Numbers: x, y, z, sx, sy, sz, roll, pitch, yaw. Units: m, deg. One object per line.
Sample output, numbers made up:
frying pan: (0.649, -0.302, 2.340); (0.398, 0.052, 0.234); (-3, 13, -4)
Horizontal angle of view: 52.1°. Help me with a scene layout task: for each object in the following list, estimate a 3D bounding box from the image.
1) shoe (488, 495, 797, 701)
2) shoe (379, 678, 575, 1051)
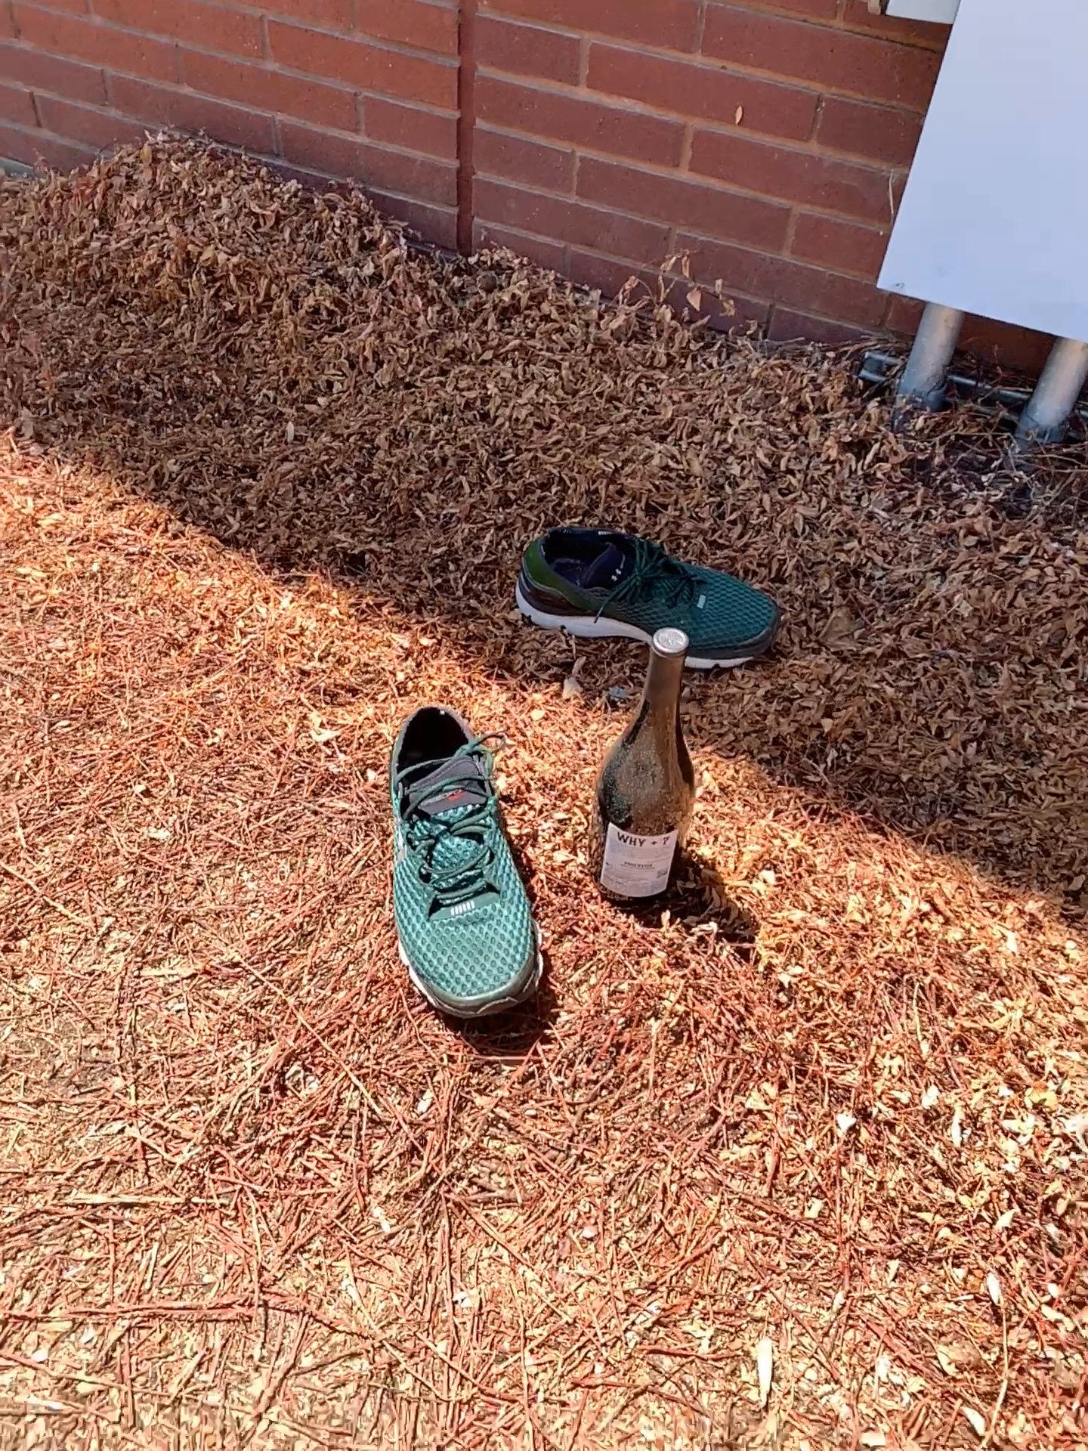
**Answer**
shoe: (0.101, -0.137, 1.183); (0.300, 0.110, 0.110); (14, 49, 7)
shoe: (-0.064, 0.105, 0.920); (0.110, 0.110, 0.281); (-6, 49, -11)
